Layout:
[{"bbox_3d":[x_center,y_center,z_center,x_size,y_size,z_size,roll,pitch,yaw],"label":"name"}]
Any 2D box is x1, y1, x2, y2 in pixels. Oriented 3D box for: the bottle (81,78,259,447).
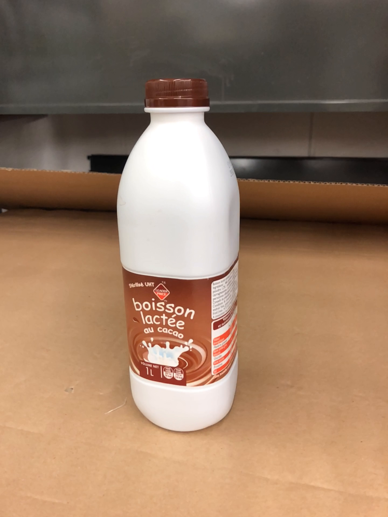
[{"bbox_3d":[-0.006,0.003,0.306,0.090,0.239,0.080,4,21,14],"label":"bottle"}]
